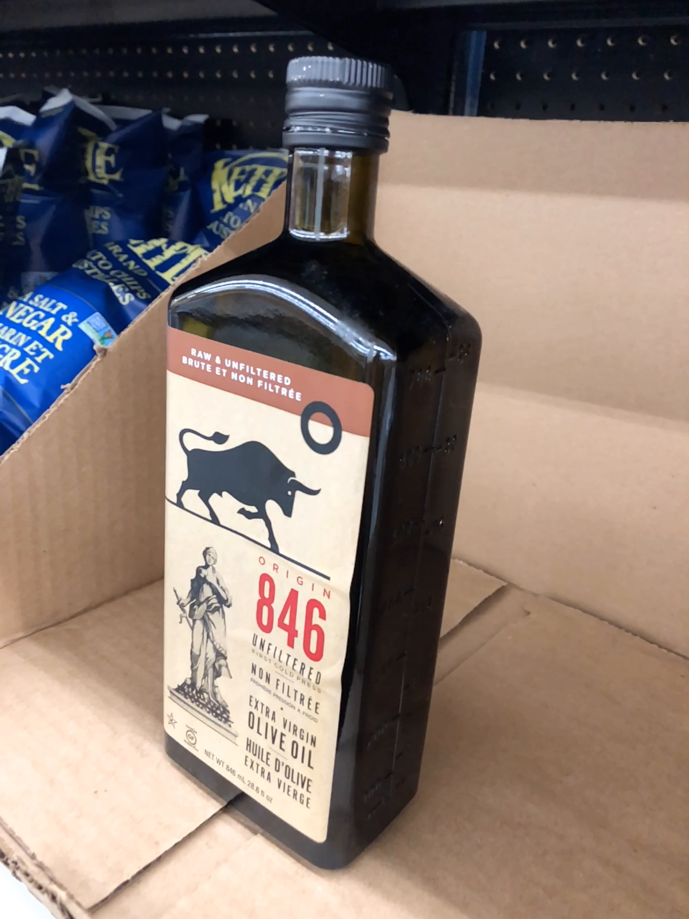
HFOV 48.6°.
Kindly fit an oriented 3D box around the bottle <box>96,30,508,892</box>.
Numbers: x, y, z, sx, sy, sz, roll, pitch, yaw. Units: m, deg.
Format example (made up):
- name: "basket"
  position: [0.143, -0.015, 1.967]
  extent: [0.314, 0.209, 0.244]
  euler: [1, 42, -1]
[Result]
- name: "bottle"
  position: [-0.020, 0.004, 0.256]
  extent: [0.100, 0.248, 0.060]
  euler: [18, 25, 34]
